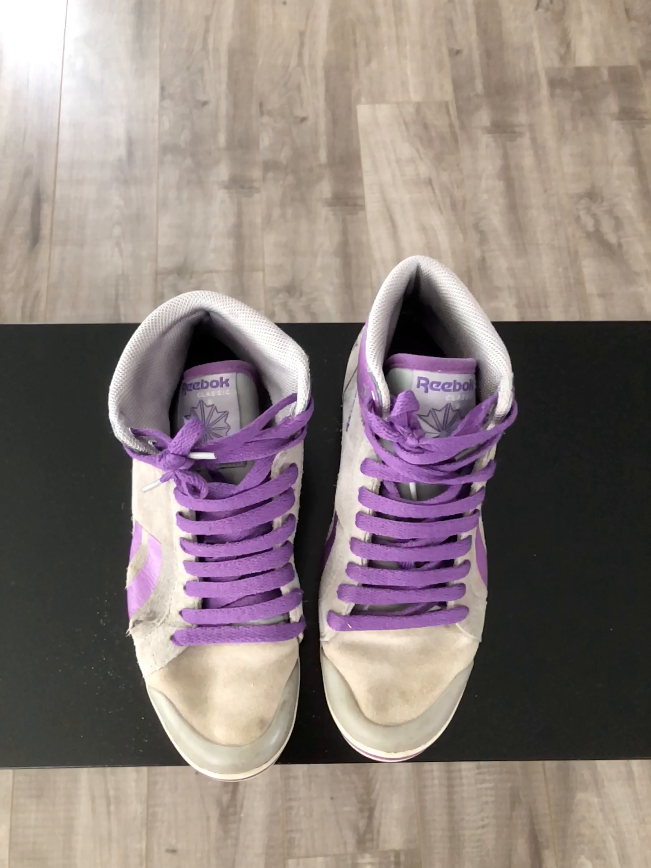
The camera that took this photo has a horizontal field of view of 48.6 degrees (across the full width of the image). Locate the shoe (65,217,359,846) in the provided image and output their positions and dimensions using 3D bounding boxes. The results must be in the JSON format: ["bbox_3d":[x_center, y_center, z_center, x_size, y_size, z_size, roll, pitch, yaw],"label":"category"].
[{"bbox_3d":[-0.053,0.040,0.341,0.100,0.120,0.240,-6,72,-3],"label":"shoe"}]

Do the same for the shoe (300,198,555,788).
[{"bbox_3d":[0.042,0.026,0.345,0.090,0.110,0.240,4,72,0],"label":"shoe"}]
